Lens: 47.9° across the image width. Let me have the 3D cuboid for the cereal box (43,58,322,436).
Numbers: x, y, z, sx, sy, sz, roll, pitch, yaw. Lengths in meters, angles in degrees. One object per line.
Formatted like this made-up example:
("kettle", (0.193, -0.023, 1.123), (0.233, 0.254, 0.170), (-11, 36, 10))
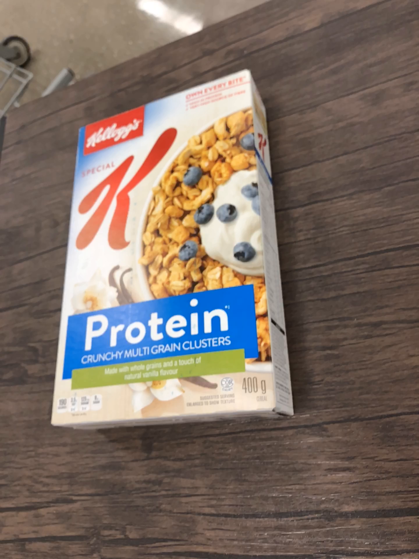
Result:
("cereal box", (-0.024, -0.023, 0.361), (0.180, 0.050, 0.260), (-11, 65, 21))
